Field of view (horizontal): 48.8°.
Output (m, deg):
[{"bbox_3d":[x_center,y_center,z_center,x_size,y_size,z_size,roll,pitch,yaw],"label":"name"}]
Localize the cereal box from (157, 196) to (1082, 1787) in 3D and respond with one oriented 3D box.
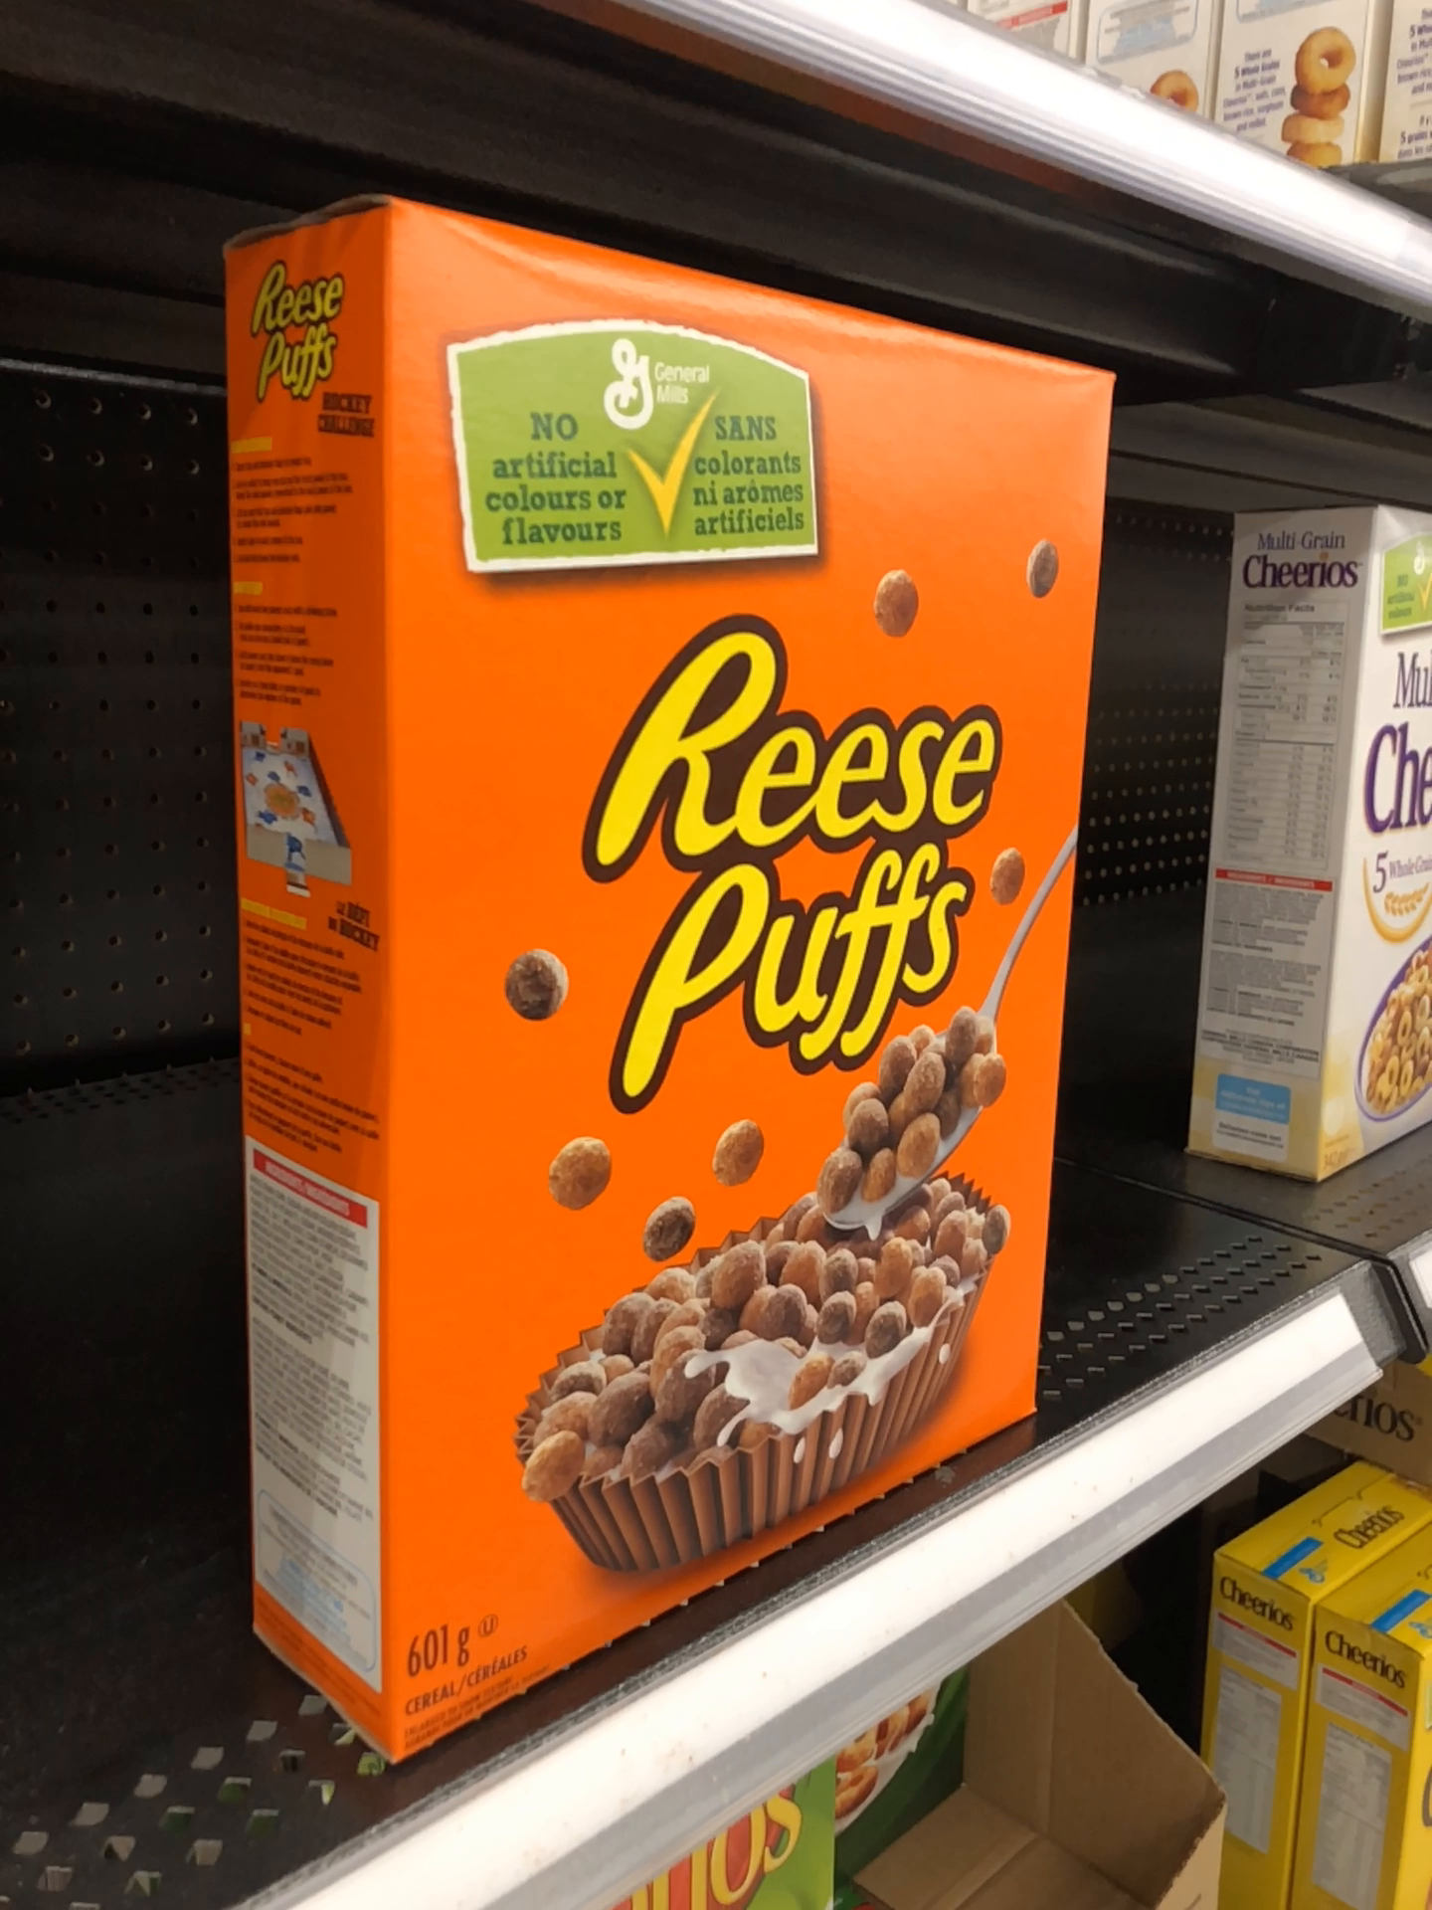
[{"bbox_3d":[-0.010,0.001,0.417,0.240,0.319,0.070,-10,15,-44],"label":"cereal box"}]
